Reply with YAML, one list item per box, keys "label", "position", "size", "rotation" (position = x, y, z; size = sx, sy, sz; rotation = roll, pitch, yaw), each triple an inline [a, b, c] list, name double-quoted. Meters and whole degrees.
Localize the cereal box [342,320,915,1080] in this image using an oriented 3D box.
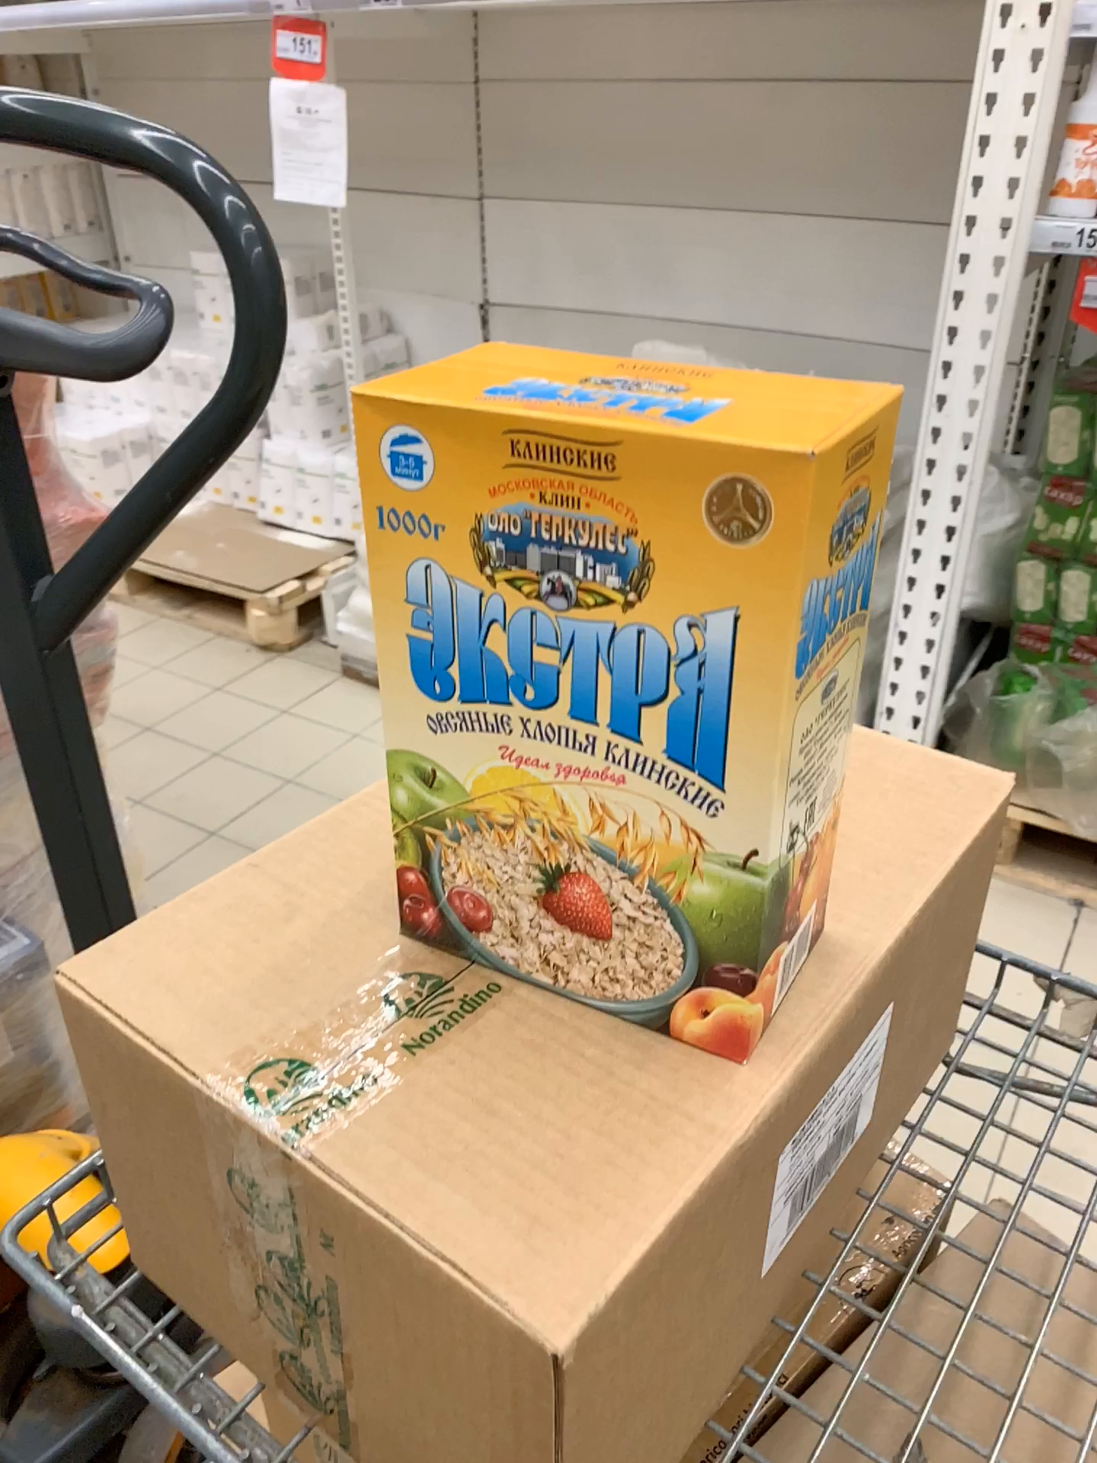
- label: "cereal box"
  position: [0.028, -0.016, 0.429]
  size: [0.160, 0.239, 0.100]
  rotation: [15, 33, 24]
